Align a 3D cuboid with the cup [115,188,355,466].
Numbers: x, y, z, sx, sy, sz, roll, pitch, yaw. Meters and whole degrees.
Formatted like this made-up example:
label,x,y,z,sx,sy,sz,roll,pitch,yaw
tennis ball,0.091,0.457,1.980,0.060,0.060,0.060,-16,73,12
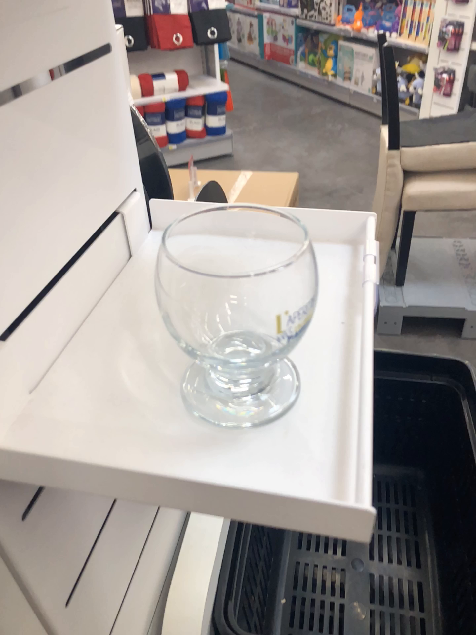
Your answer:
label,x,y,z,sx,sy,sz,roll,pitch,yaw
cup,0.002,0.000,0.260,0.078,0.093,0.074,-3,36,2
